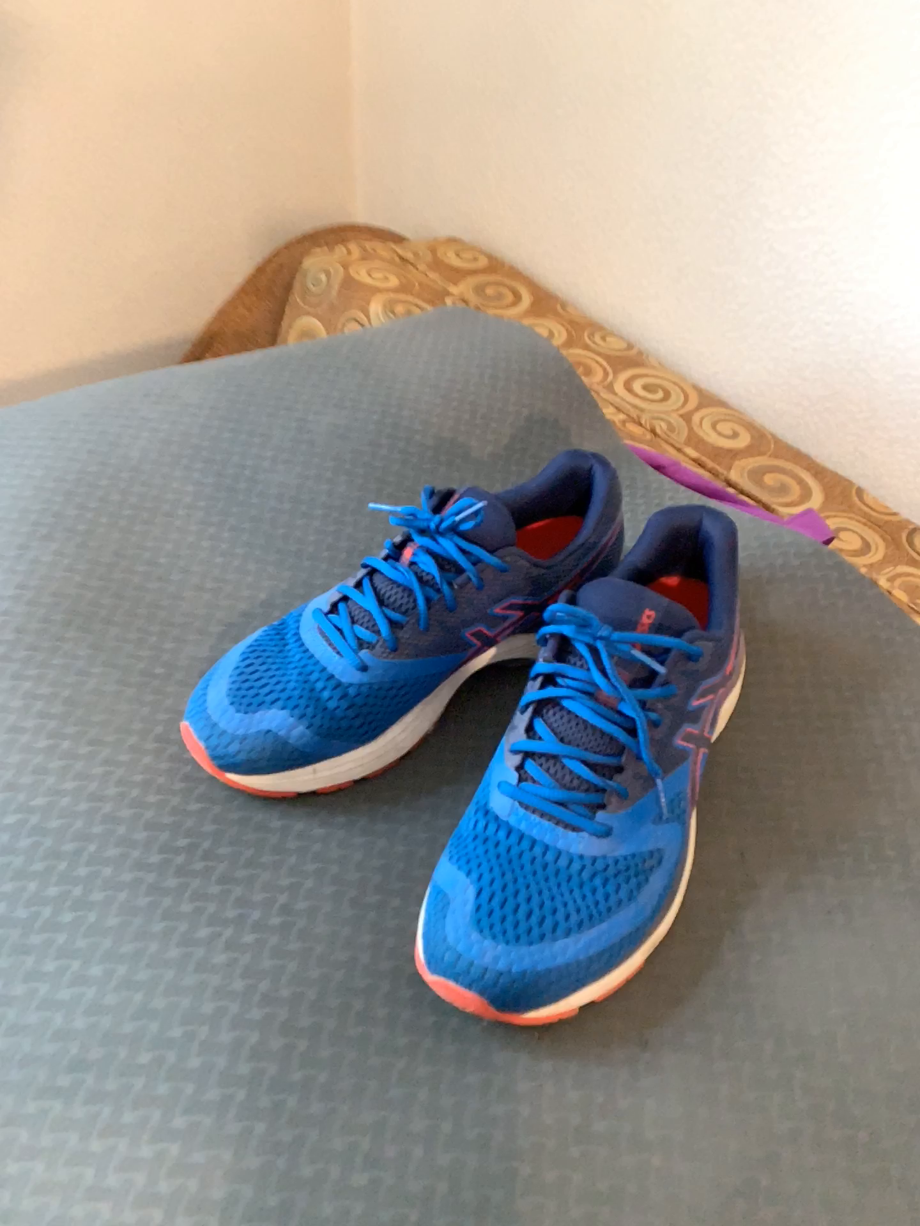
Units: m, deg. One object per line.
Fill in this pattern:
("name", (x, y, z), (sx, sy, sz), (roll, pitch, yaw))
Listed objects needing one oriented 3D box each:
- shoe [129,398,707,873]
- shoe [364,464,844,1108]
("shoe", (-0.014, -0.001, 0.549), (0.301, 0.109, 0.120), (-29, 56, -27))
("shoe", (0.084, 0.066, 0.489), (0.120, 0.109, 0.301), (25, 50, 17))
